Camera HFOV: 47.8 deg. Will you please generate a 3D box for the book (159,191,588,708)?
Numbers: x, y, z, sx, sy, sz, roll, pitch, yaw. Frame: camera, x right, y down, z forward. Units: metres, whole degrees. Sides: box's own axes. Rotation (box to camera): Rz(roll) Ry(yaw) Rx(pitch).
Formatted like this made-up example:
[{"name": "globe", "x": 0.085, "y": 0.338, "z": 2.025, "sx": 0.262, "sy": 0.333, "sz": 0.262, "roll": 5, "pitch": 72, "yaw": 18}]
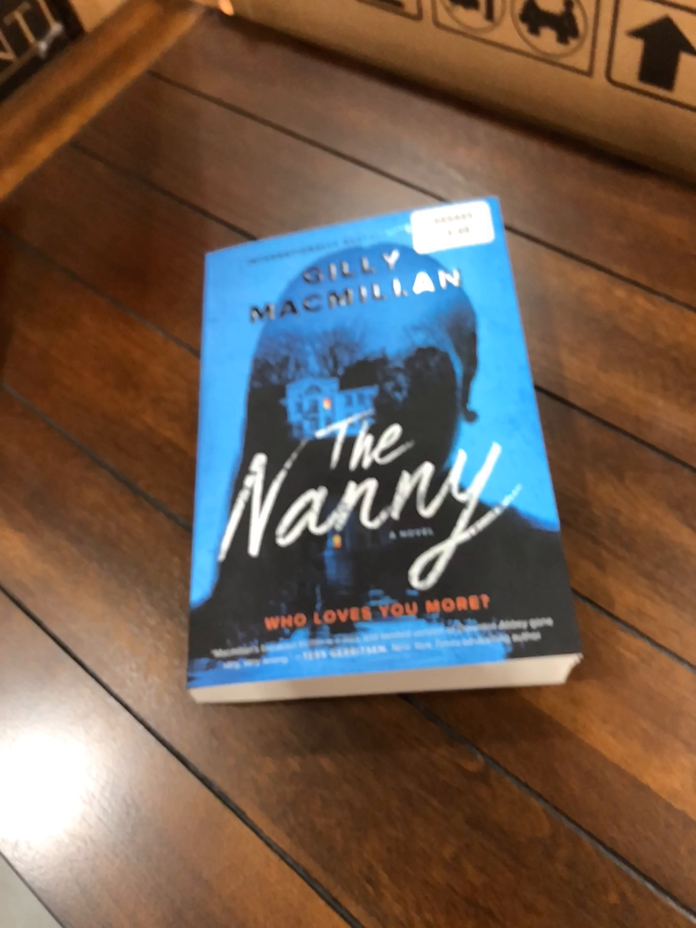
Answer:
[{"name": "book", "x": 0.008, "y": -0.015, "z": 0.361, "sx": 0.160, "sy": 0.040, "sz": 0.230, "roll": -7, "pitch": 59, "yaw": 11}]
